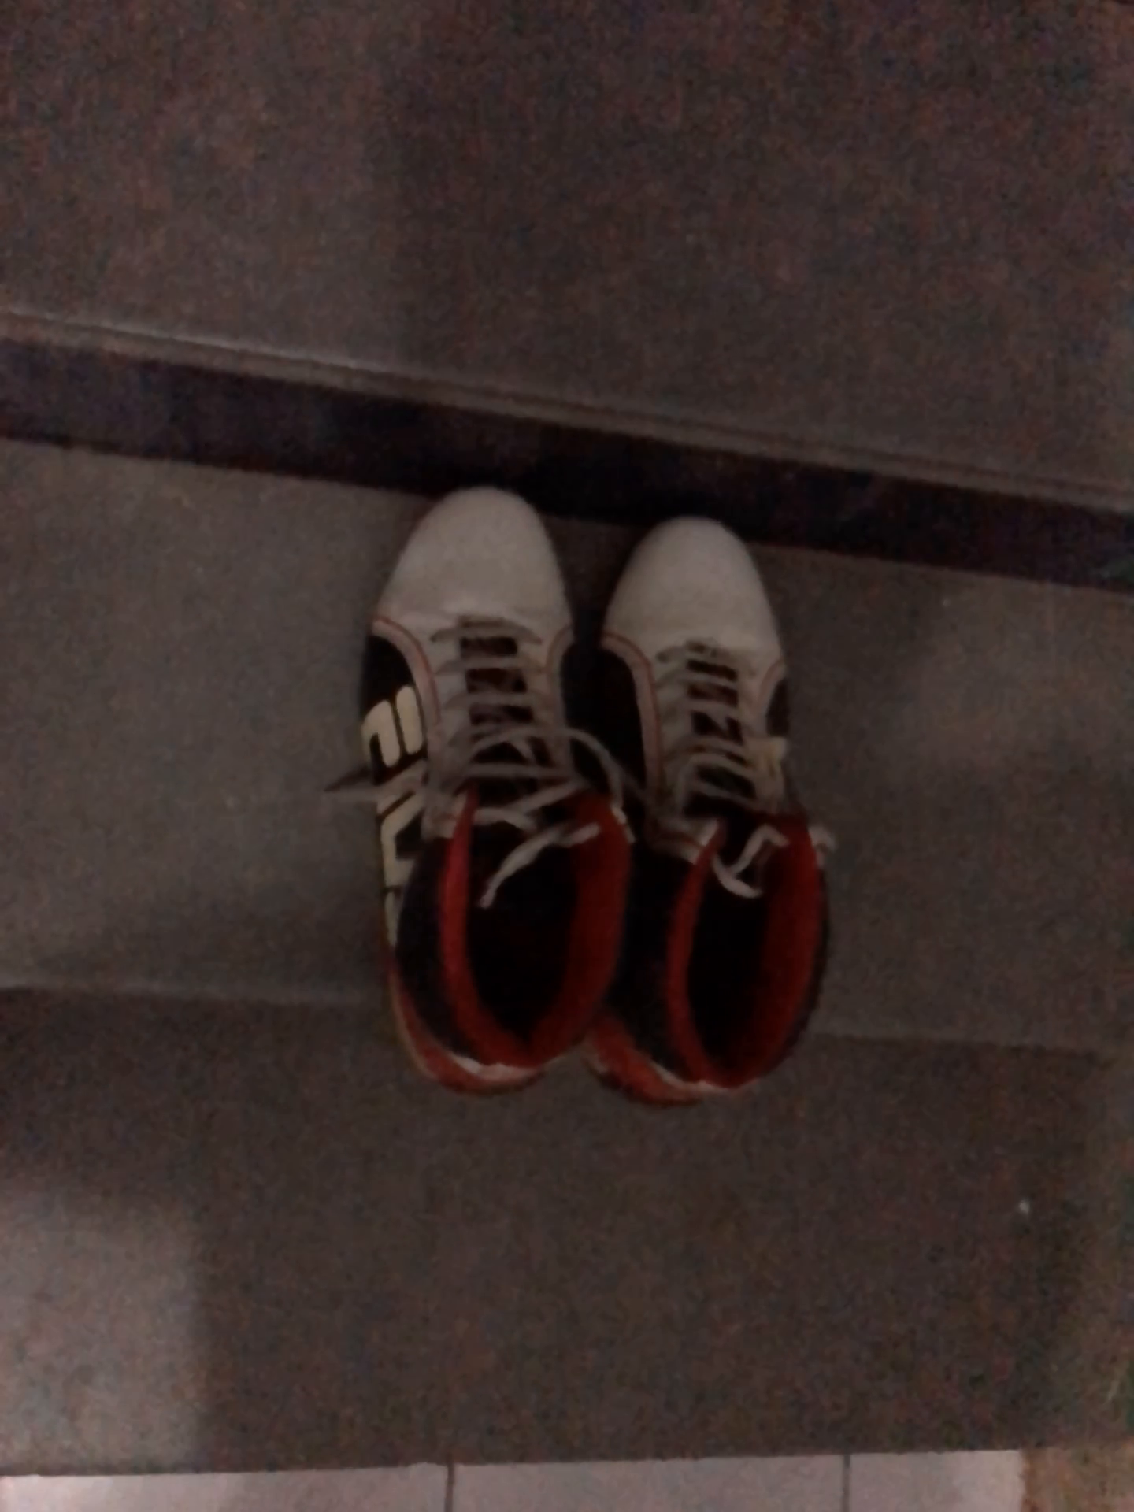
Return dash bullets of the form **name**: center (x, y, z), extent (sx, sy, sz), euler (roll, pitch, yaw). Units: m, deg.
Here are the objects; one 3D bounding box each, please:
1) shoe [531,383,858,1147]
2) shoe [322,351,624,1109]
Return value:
- **shoe**: center (0.057, 0.007, 0.565), extent (0.110, 0.100, 0.310), euler (6, 76, -12)
- **shoe**: center (-0.044, -0.004, 0.571), extent (0.110, 0.120, 0.310), euler (4, 77, -12)
